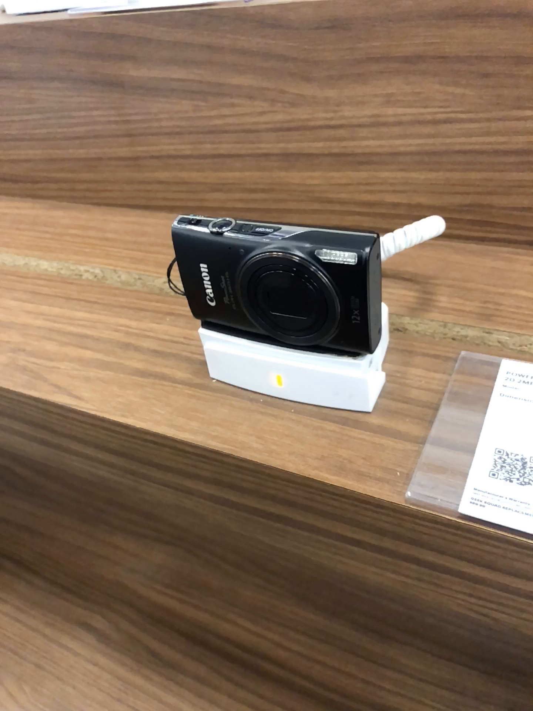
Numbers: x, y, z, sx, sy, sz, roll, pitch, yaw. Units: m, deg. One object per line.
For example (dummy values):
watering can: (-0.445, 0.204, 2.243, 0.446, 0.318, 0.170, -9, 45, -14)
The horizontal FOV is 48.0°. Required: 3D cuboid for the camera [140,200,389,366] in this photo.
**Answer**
camera: (0.000, -0.035, 0.275, 0.110, 0.060, 0.020, 12, 44, 24)
